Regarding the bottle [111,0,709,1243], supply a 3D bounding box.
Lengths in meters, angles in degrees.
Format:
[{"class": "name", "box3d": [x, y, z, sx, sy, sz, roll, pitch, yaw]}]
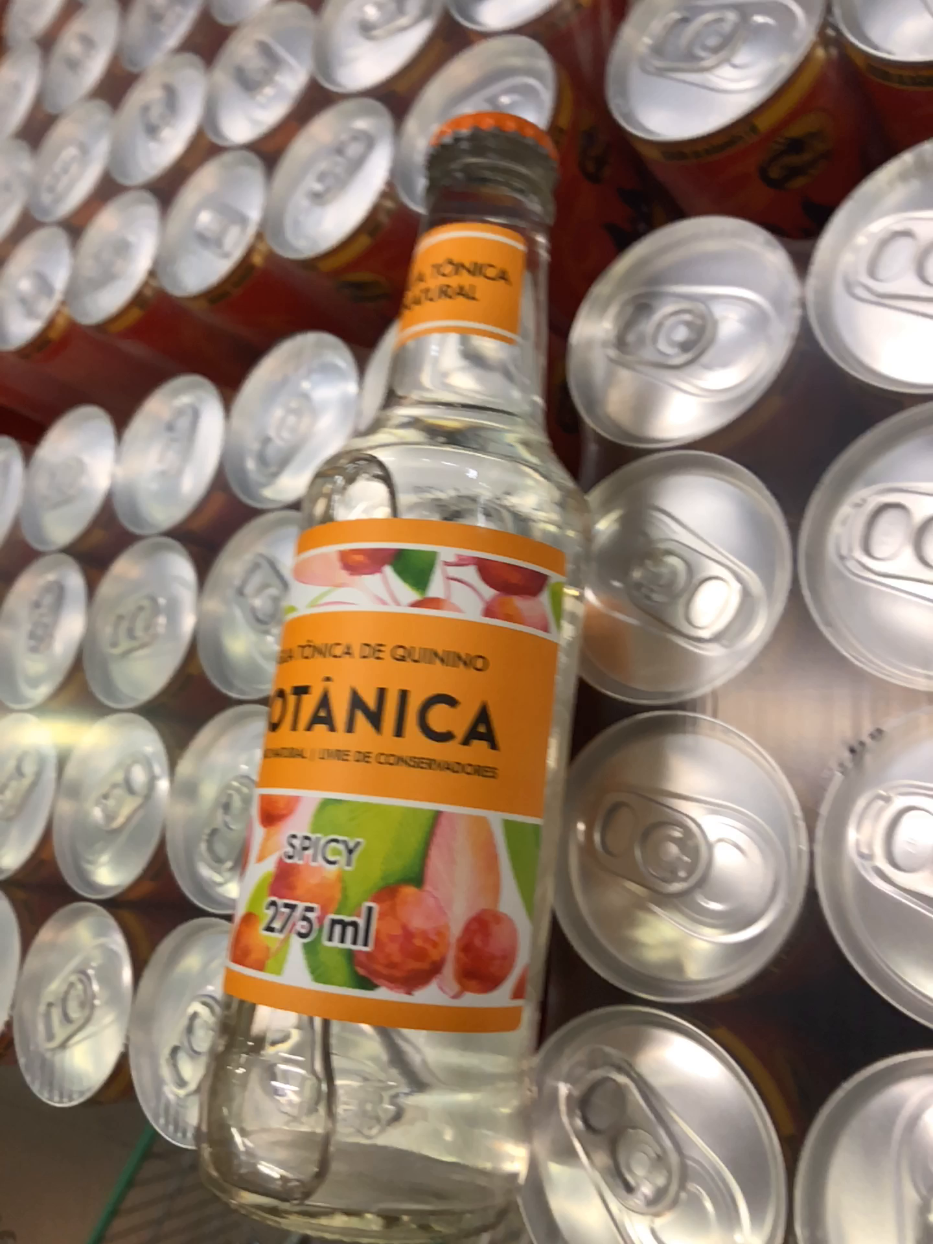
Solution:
[{"class": "bottle", "box3d": [-0.005, -0.009, 0.185, 0.070, 0.050, 0.210, -3, 77, 36]}]
